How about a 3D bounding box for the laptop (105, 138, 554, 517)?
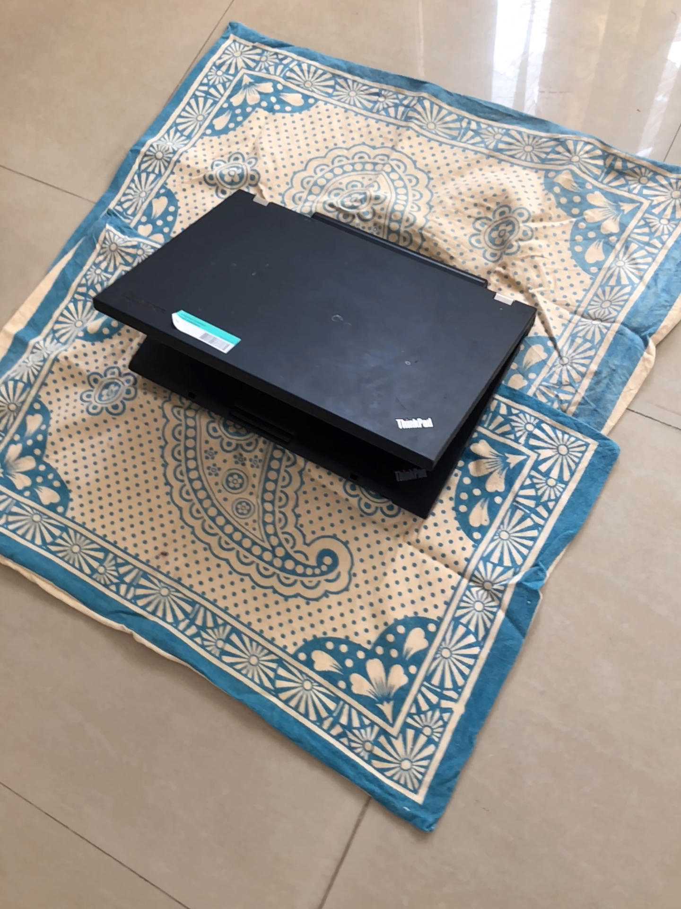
[{"bbox_3d":[-0.012,-0.135,0.741,0.348,0.125,0.241,28,76,21],"label":"laptop"}]
